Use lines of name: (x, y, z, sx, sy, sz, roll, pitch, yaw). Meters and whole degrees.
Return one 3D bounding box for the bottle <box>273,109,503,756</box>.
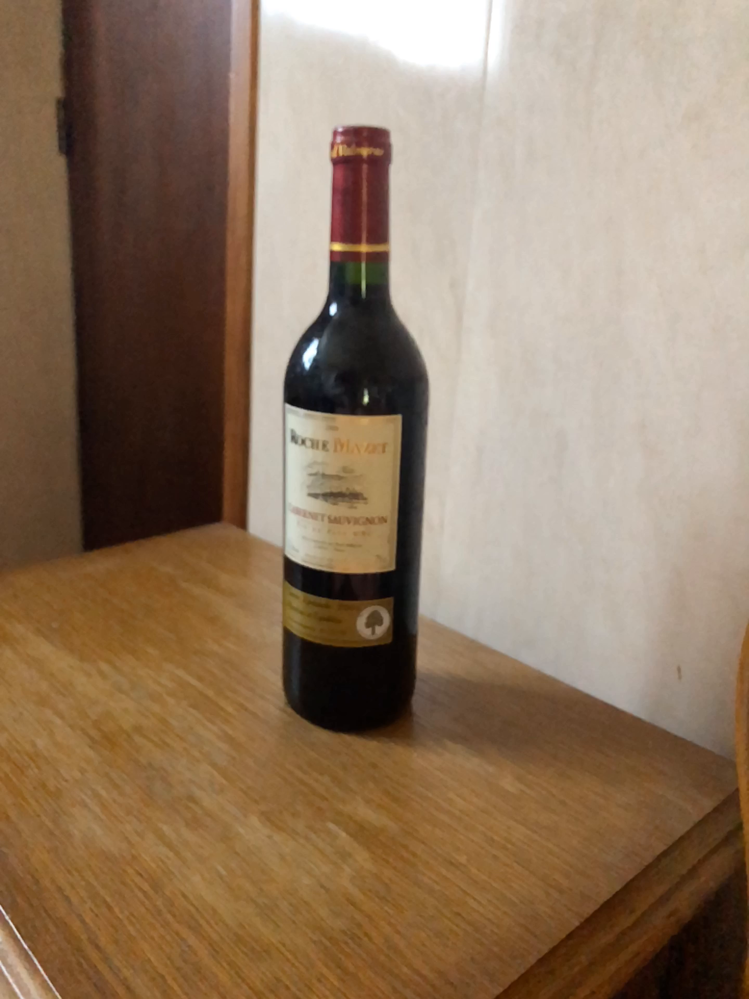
bottle: (0.005, -0.030, 0.428, 0.080, 0.299, 0.080, 3, 16, -1)
